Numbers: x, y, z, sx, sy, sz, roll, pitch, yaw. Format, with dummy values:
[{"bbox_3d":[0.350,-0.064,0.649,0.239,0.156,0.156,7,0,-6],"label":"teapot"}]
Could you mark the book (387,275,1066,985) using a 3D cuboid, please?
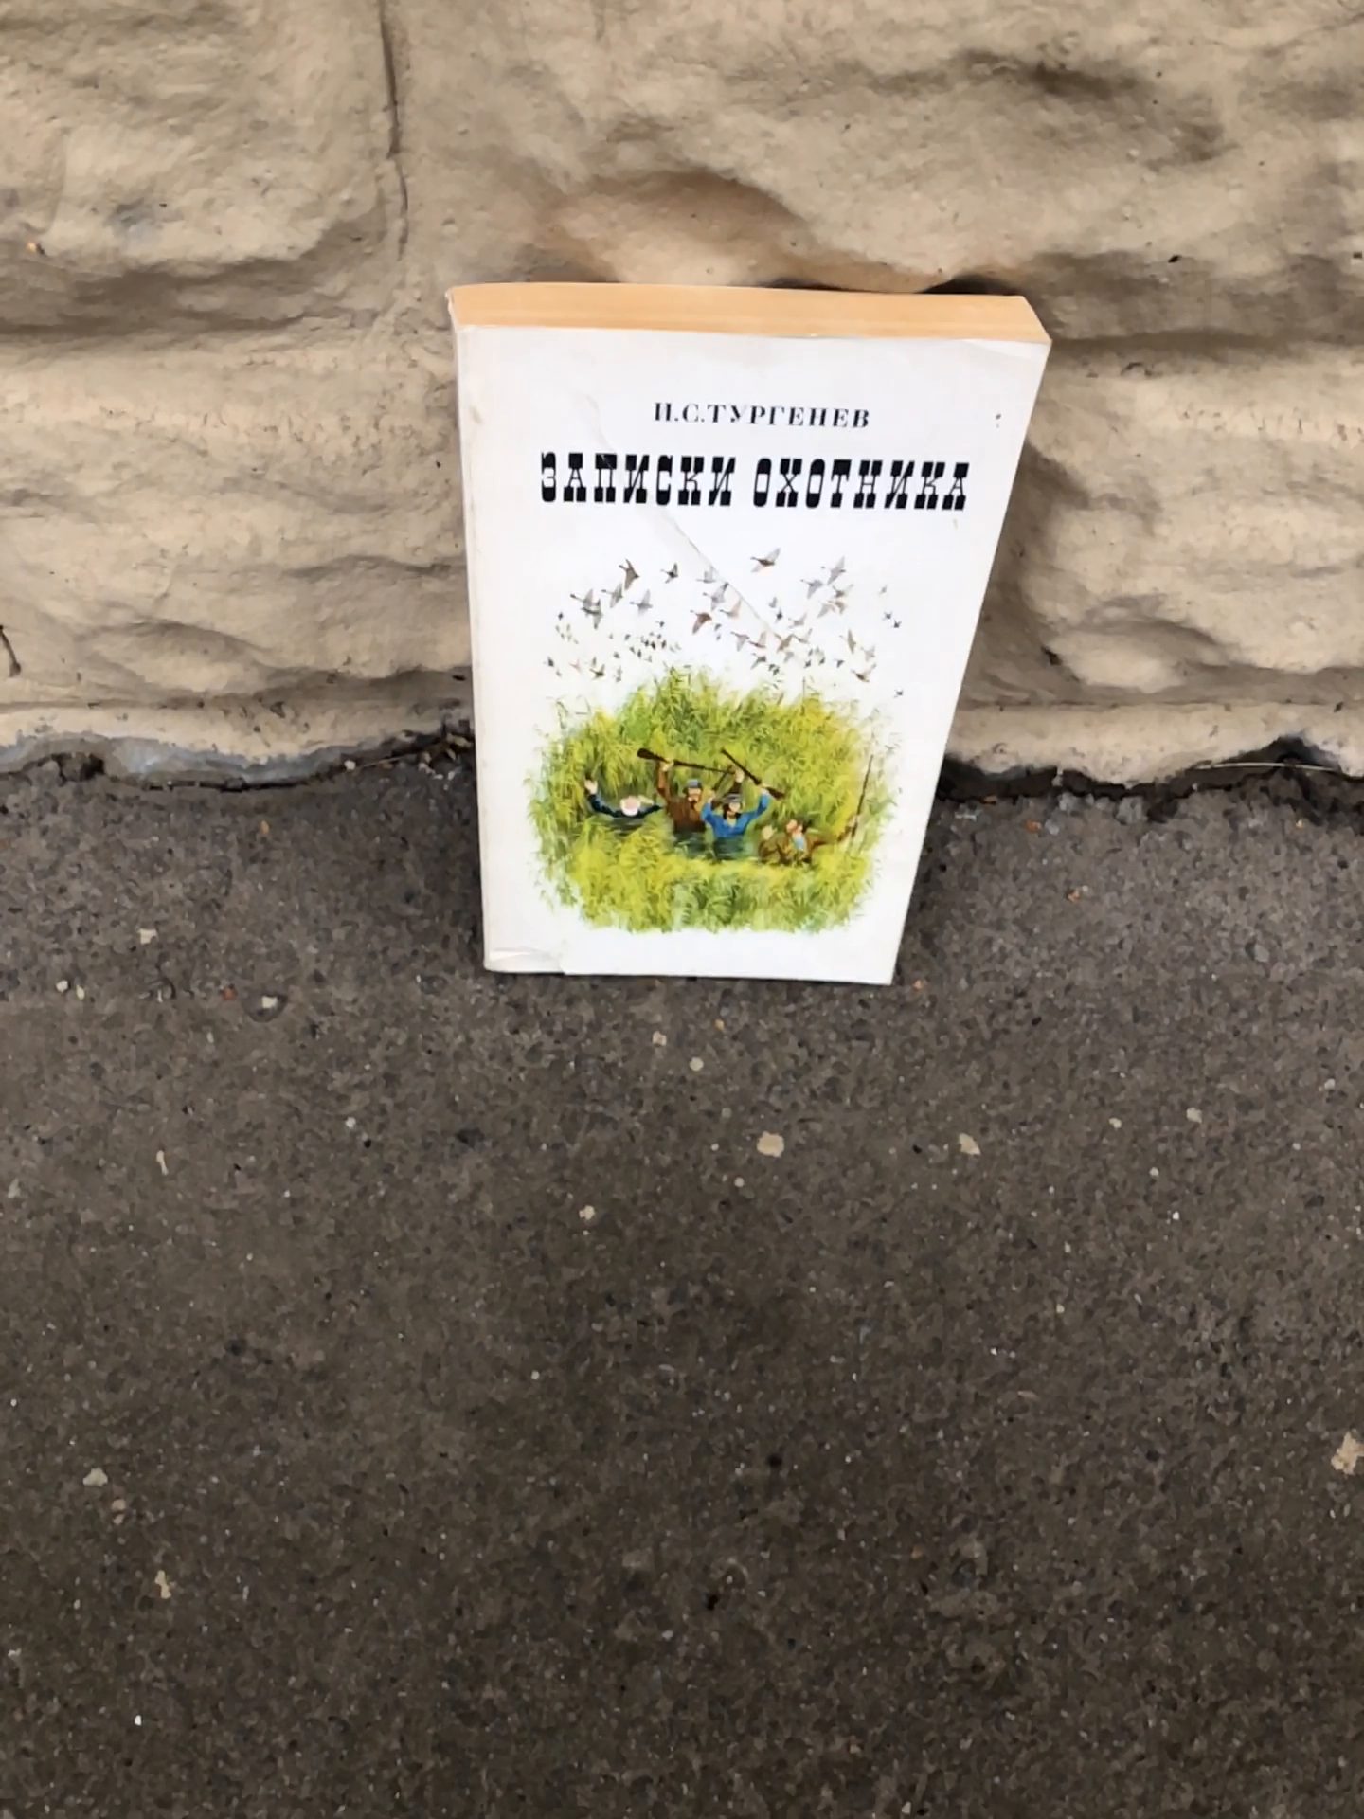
[{"bbox_3d":[0.006,-0.057,0.377,0.137,0.183,0.032,1,43,-2],"label":"book"}]
